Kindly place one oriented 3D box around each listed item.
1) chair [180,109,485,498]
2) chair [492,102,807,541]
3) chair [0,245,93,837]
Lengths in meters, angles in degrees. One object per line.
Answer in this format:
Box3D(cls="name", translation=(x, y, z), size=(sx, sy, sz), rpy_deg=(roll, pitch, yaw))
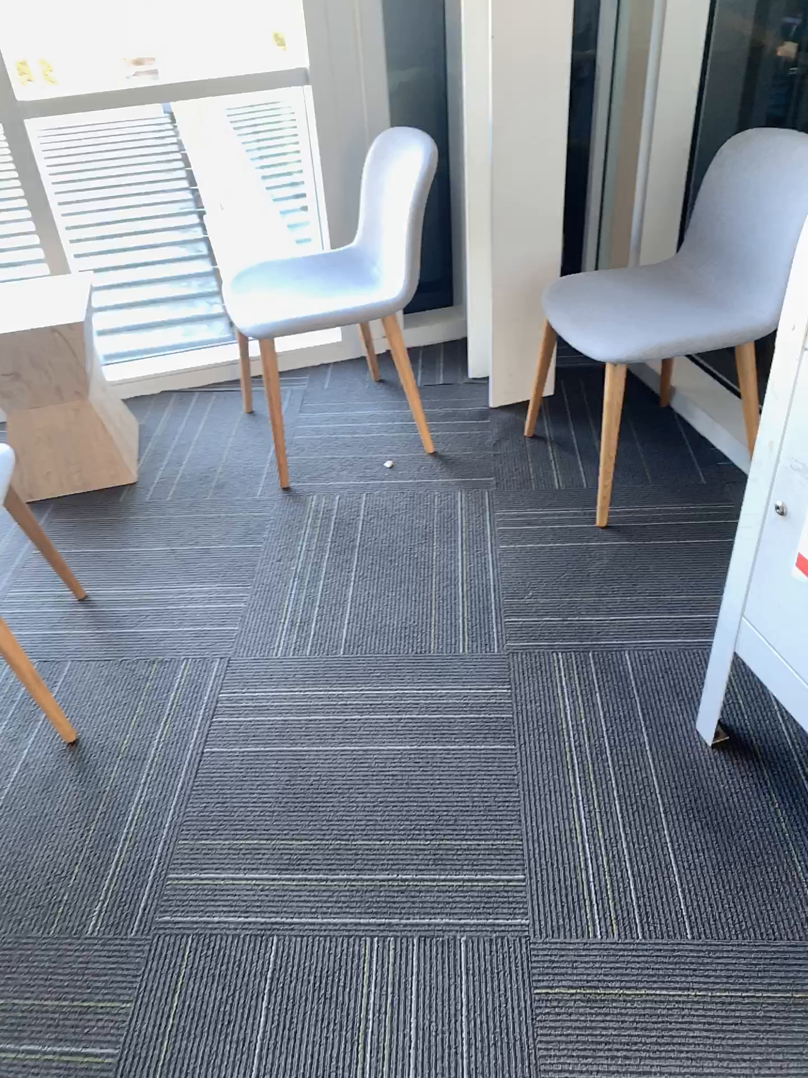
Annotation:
Box3D(cls="chair", translation=(-0.186, -0.657, 2.245), size=(0.600, 0.746, 0.644), rpy_deg=(-14, 39, -12))
Box3D(cls="chair", translation=(0.622, -0.553, 2.032), size=(0.600, 0.765, 0.644), rpy_deg=(-14, 39, -12))
Box3D(cls="chair", translation=(-0.968, -0.013, 1.505), size=(0.560, 0.765, 0.604), rpy_deg=(-13, 39, -11))
